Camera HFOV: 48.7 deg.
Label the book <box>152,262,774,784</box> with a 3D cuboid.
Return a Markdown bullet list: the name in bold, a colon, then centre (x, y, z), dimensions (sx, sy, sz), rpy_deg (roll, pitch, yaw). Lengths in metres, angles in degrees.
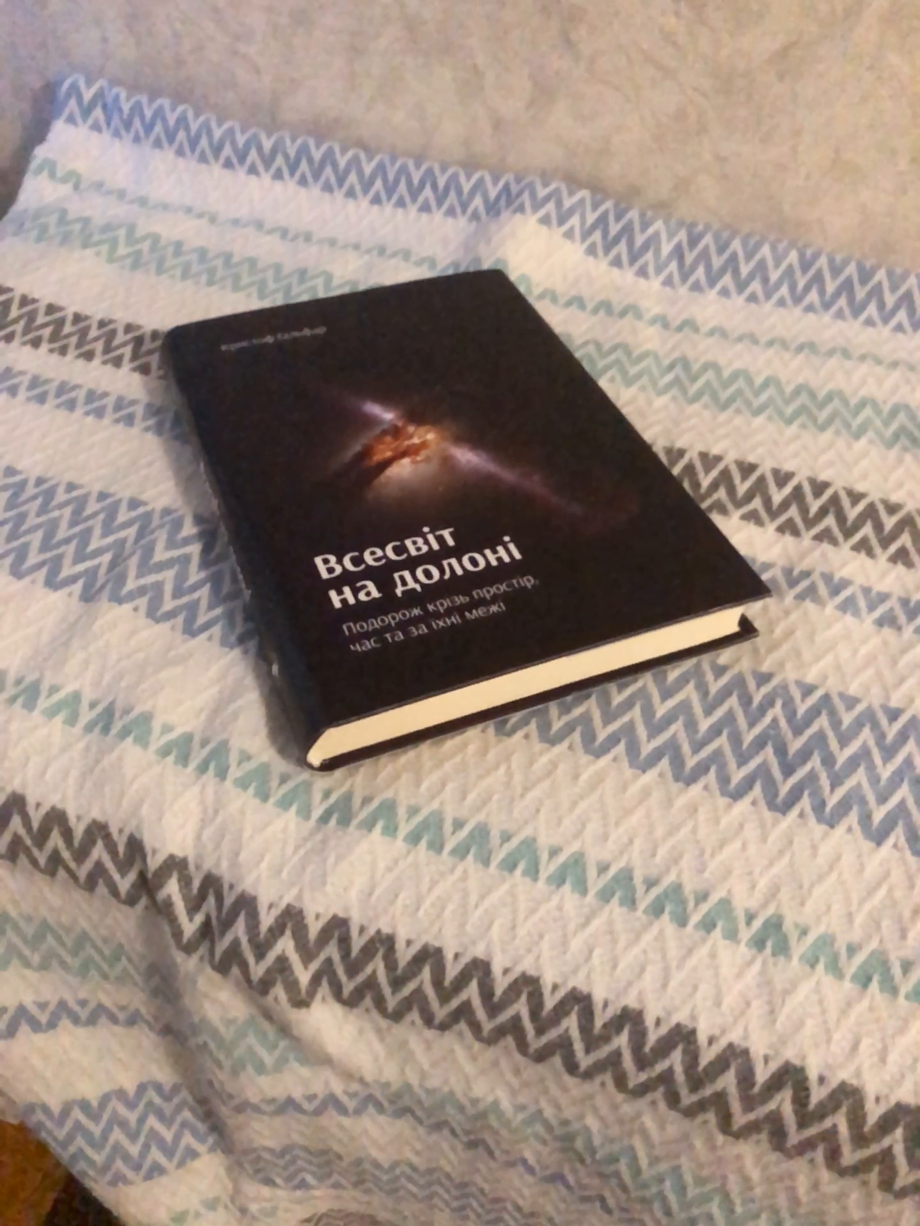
- **book**: centre (-0.014, -0.056, 0.394), dimensions (0.161, 0.030, 0.225), rpy_deg (-16, 50, -16)
